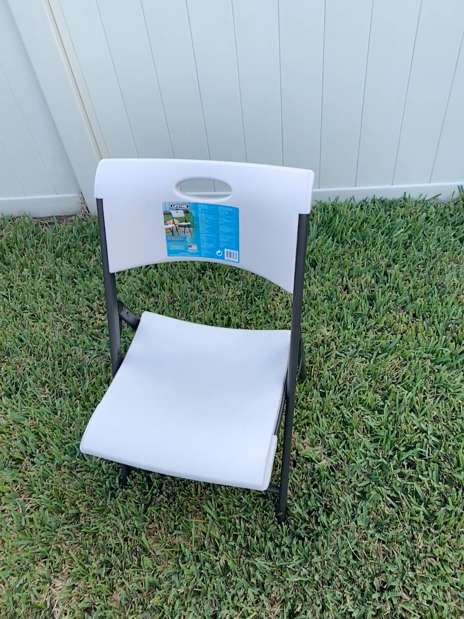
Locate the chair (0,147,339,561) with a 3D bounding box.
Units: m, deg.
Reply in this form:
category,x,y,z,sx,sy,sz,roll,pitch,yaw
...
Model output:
category,x,y,z,sx,sy,sz,roll,pitch,yaw
chair,-0.065,0.121,1.092,0.519,0.766,0.519,6,48,14
